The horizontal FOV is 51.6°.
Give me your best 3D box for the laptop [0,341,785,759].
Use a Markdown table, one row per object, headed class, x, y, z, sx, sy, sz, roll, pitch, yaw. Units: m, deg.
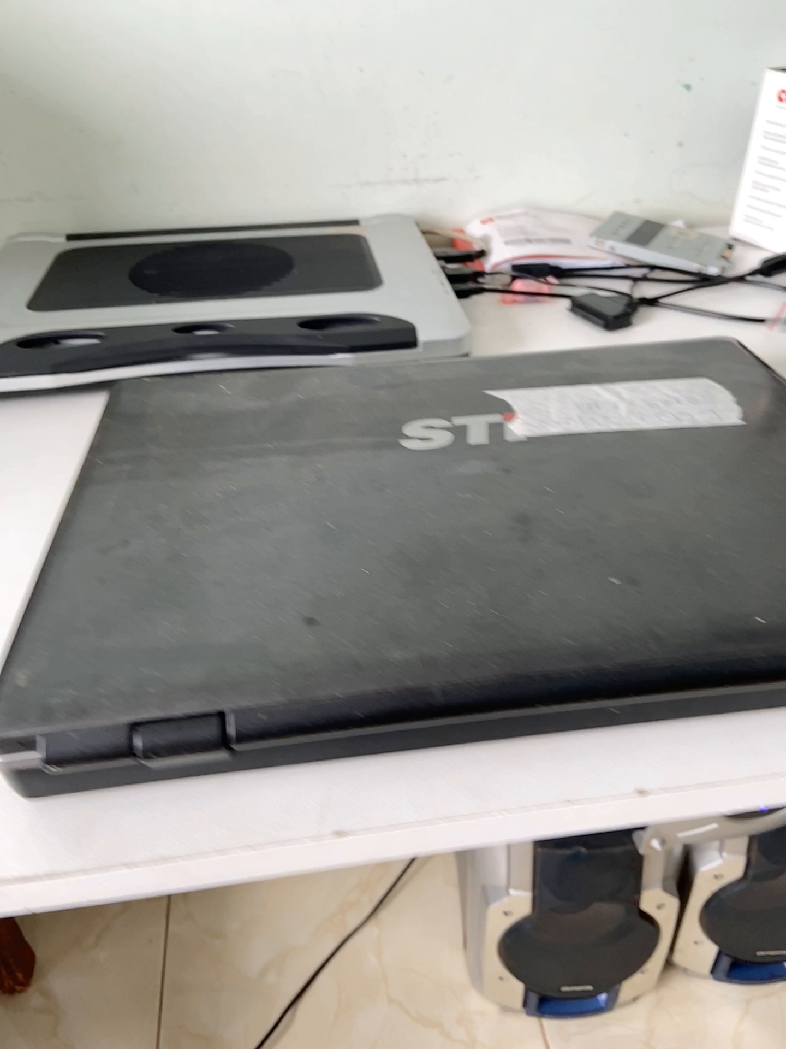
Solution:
| class | x | y | z | sx | sy | sz | roll | pitch | yaw |
| --- | --- | --- | --- | --- | --- | --- | --- | --- | --- |
| laptop | 0.031 | -0.017 | 0.341 | 0.337 | 0.006 | 0.236 | -5 | 34 | -4 |
